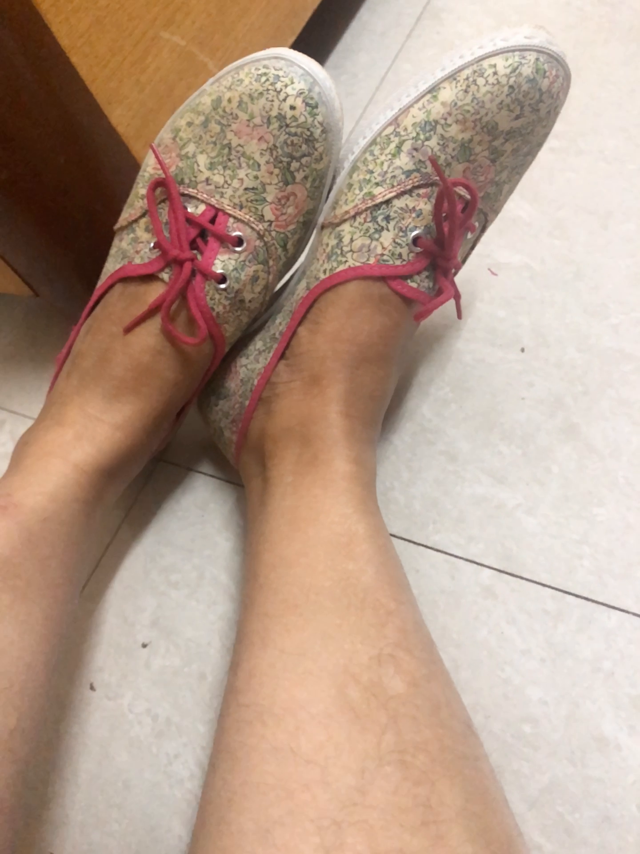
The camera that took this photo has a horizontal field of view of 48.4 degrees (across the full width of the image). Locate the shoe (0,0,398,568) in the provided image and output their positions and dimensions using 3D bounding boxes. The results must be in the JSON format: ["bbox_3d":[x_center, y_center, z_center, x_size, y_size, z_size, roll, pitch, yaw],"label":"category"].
[{"bbox_3d":[-0.071,-0.059,0.351,0.259,0.090,0.070,-57,7,27],"label":"shoe"}]

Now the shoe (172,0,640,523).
[{"bbox_3d":[0.026,-0.071,0.364,0.259,0.090,0.070,-54,36,27],"label":"shoe"}]
